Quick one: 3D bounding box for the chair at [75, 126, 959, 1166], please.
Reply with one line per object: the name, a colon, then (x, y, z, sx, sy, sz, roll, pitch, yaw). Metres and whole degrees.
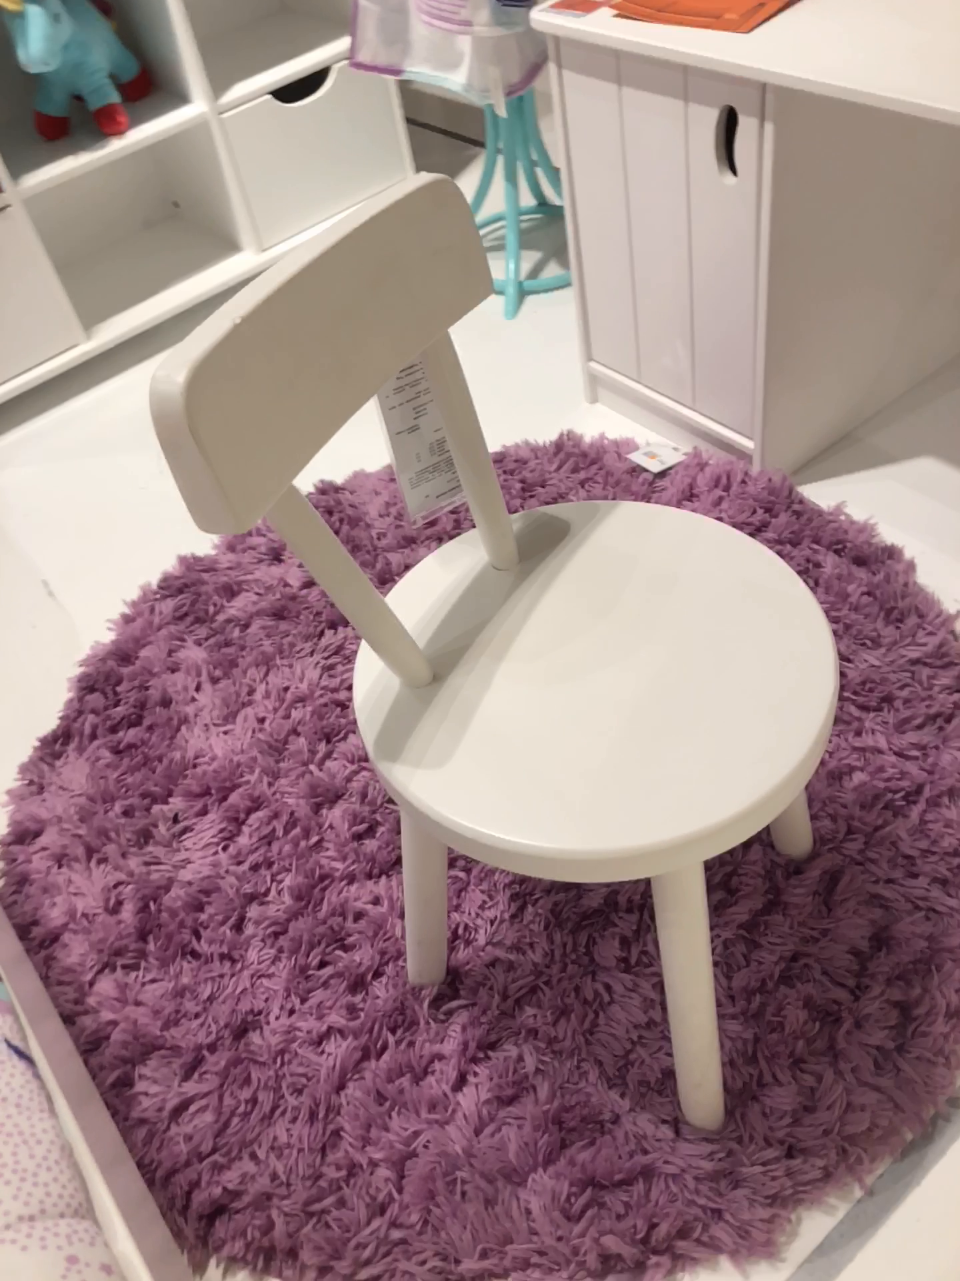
chair: (0.074, 0.028, 0.701, 0.311, 0.576, 0.322, 15, 52, 25)
